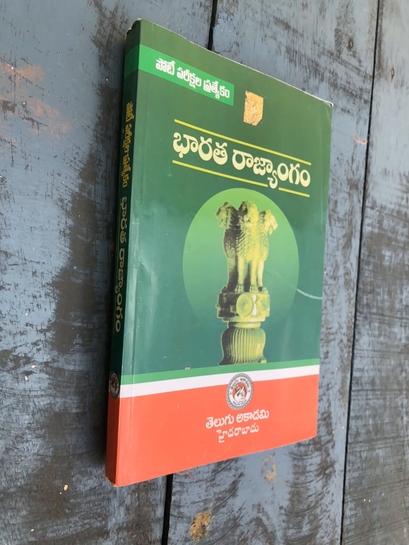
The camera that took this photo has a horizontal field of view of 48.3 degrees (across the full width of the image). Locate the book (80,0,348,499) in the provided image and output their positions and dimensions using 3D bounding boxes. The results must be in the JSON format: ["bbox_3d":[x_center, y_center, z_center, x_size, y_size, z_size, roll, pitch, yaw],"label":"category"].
[{"bbox_3d":[0.017,-0.012,0.267,0.161,0.040,0.230,4,86,-37],"label":"book"}]
